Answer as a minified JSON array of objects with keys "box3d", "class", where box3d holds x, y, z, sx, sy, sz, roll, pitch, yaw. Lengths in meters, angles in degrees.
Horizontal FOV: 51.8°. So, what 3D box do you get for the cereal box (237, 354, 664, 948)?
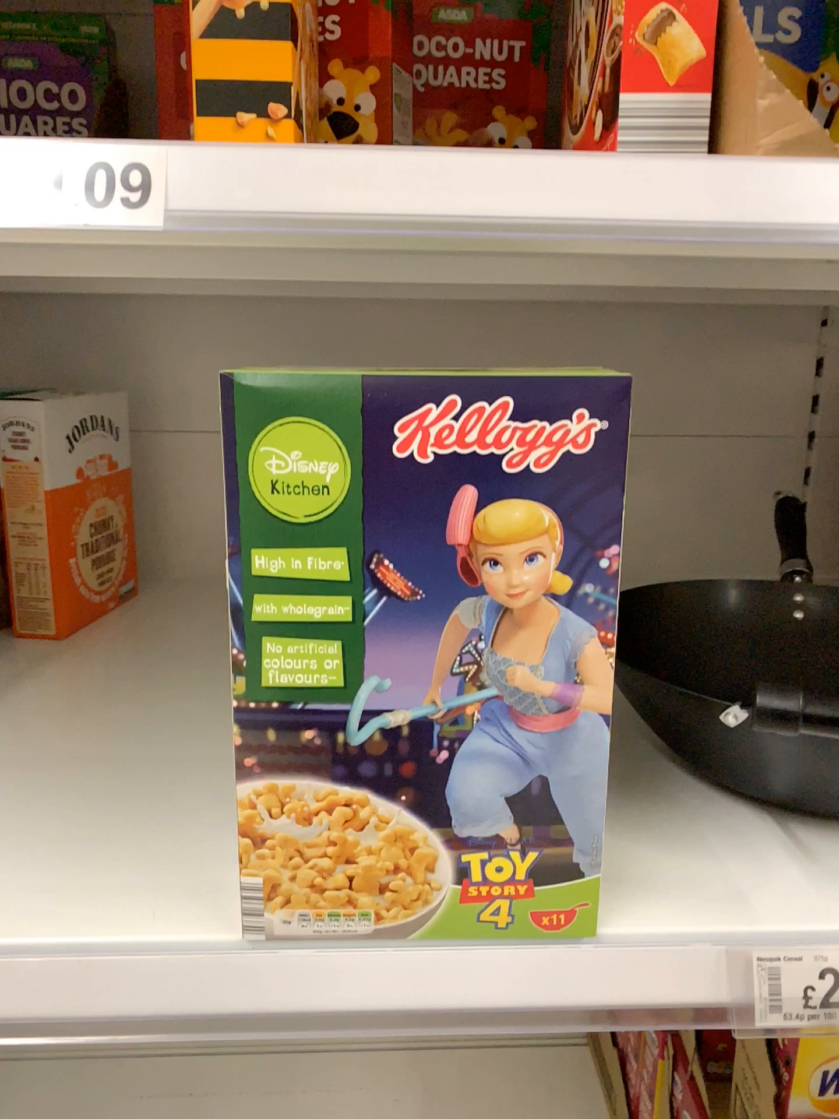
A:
[{"box3d":[0.012,0.047,0.456,0.190,0.299,0.080,0,13,-1],"class":"cereal box"}]
